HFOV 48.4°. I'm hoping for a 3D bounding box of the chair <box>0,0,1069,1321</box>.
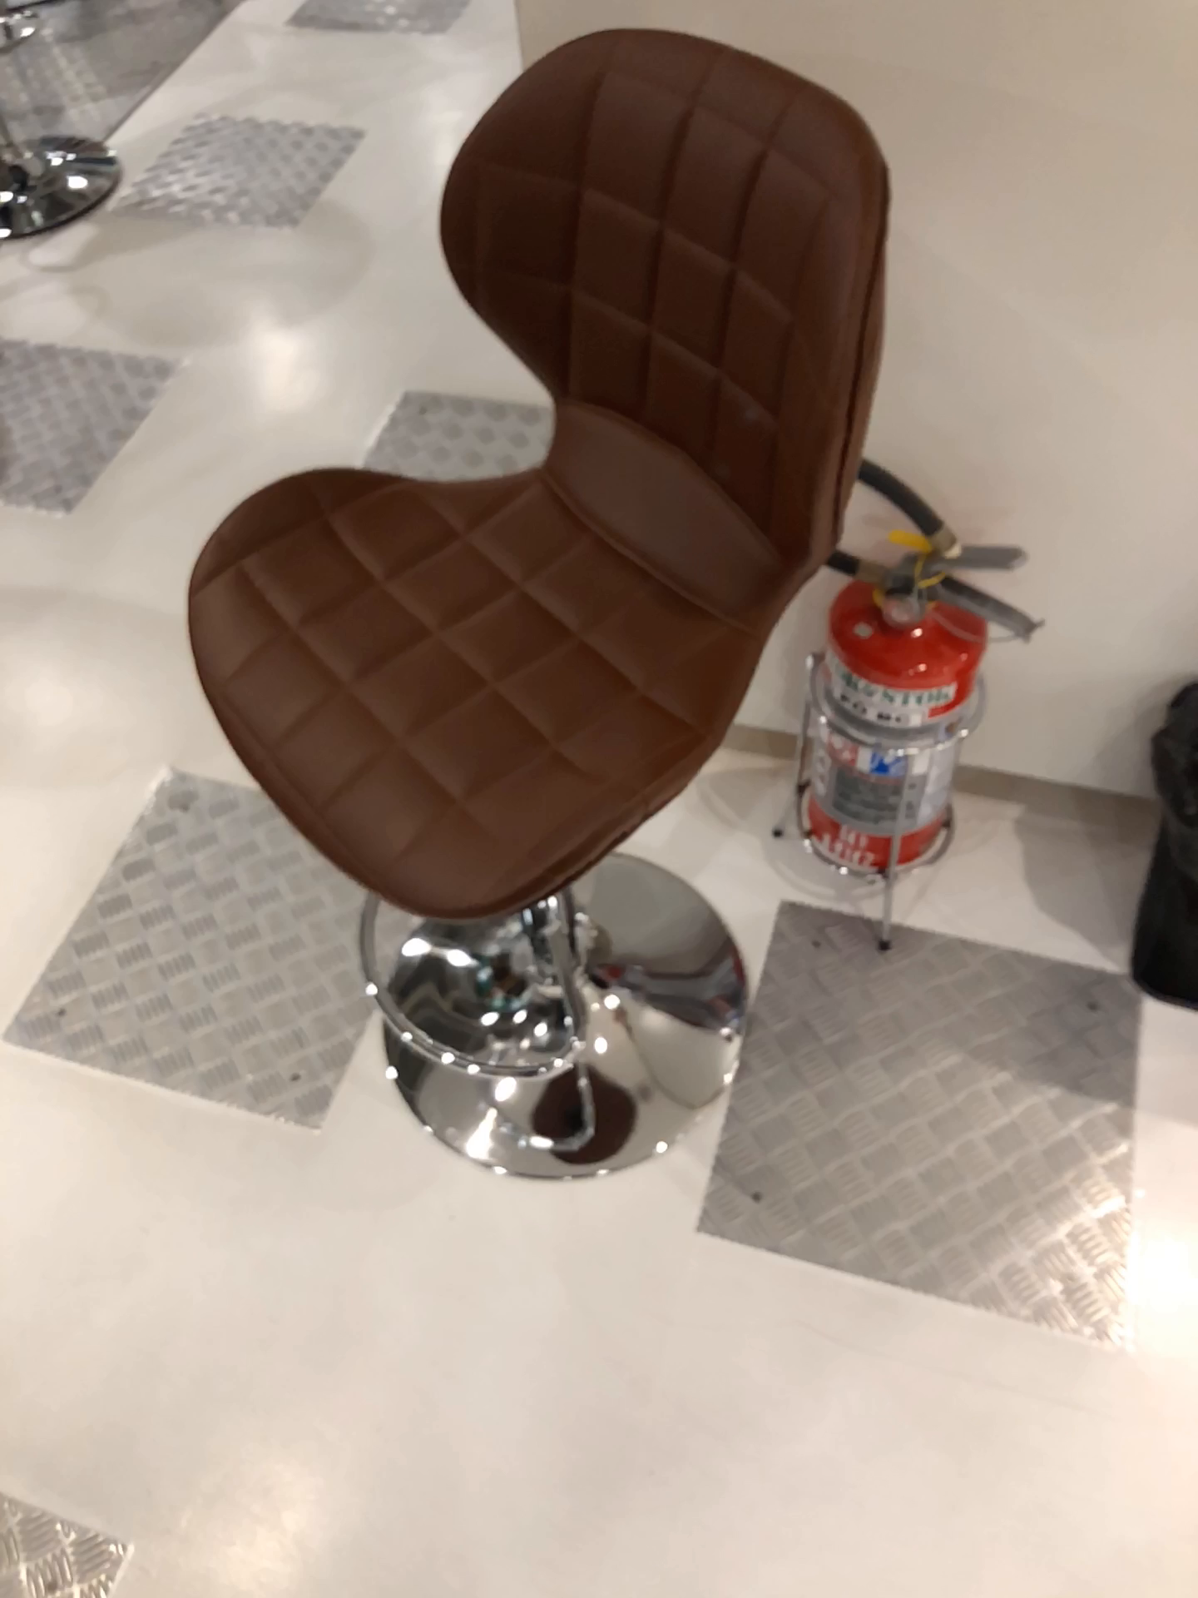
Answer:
[{"bbox_3d":[-0.077,-0.072,1.128,0.491,0.924,0.542,-29,55,-17],"label":"chair"}]
